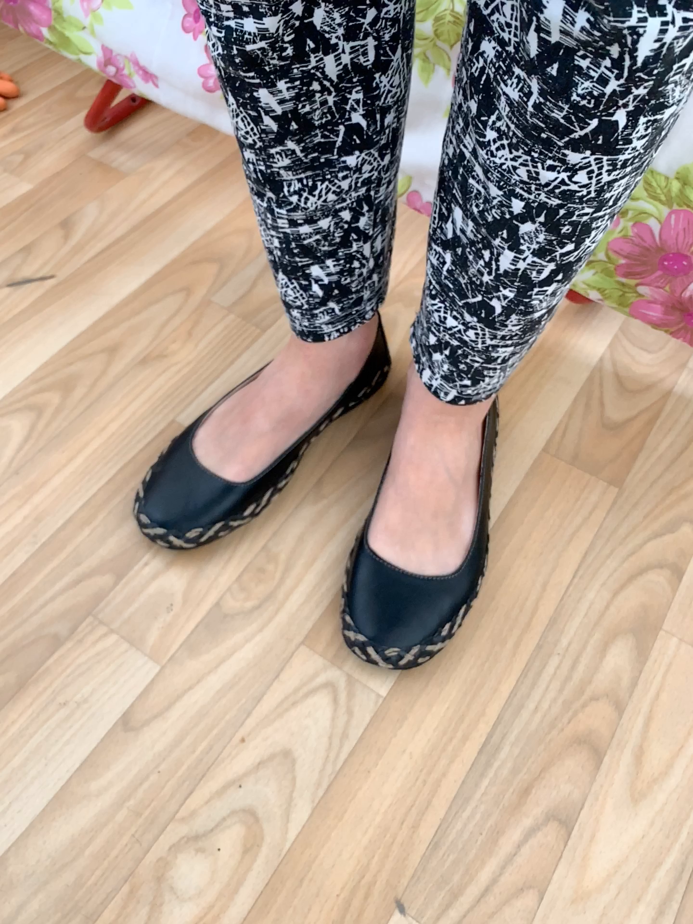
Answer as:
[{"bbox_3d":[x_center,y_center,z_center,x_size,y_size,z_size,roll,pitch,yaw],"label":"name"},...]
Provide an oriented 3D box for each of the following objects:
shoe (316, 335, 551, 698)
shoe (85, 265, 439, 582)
[{"bbox_3d":[0.069,0.026,0.521,0.100,0.060,0.251,16,57,10],"label":"shoe"},{"bbox_3d":[-0.055,-0.041,0.563,0.100,0.070,0.265,39,63,23],"label":"shoe"}]
